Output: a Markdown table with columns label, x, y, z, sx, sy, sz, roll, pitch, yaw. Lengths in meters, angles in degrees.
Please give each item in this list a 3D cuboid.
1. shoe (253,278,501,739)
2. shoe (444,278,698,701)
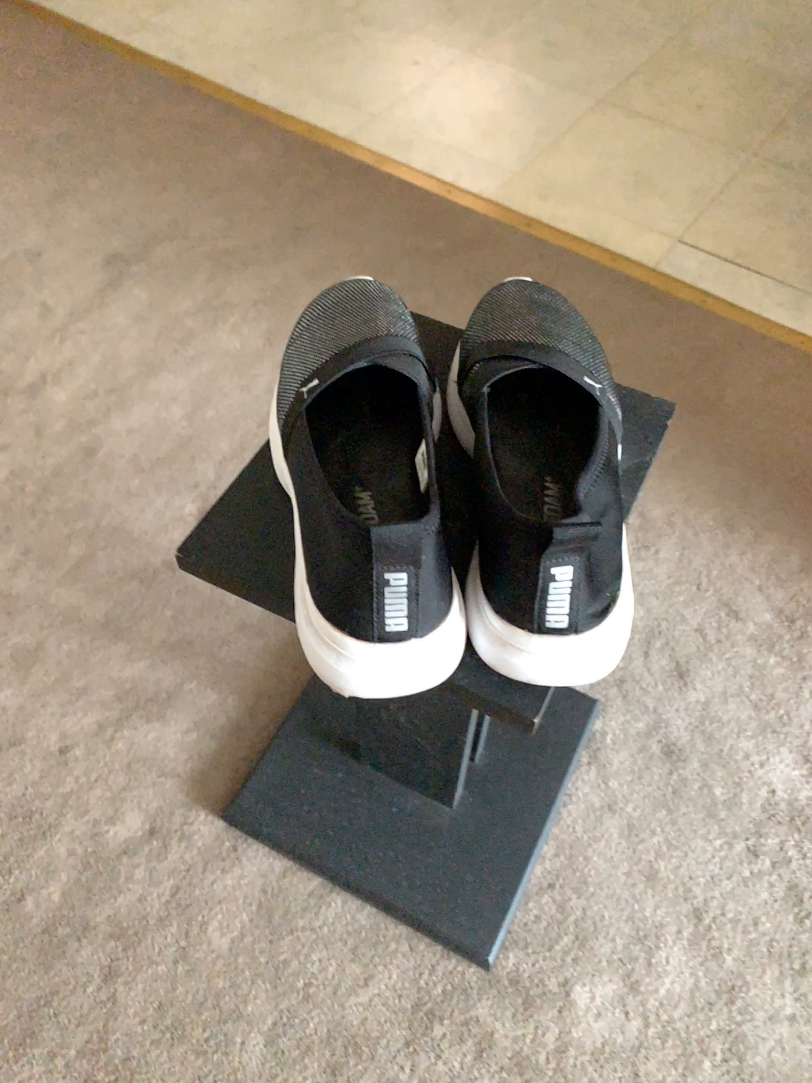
| label | x | y | z | sx | sy | sz | roll | pitch | yaw |
| --- | --- | --- | --- | --- | --- | --- | --- | --- | --- |
| shoe | -0.024 | -0.037 | 0.427 | 0.090 | 0.079 | 0.262 | -5 | 42 | -4 |
| shoe | 0.068 | -0.042 | 0.436 | 0.090 | 0.079 | 0.242 | 1 | 44 | 0 |
